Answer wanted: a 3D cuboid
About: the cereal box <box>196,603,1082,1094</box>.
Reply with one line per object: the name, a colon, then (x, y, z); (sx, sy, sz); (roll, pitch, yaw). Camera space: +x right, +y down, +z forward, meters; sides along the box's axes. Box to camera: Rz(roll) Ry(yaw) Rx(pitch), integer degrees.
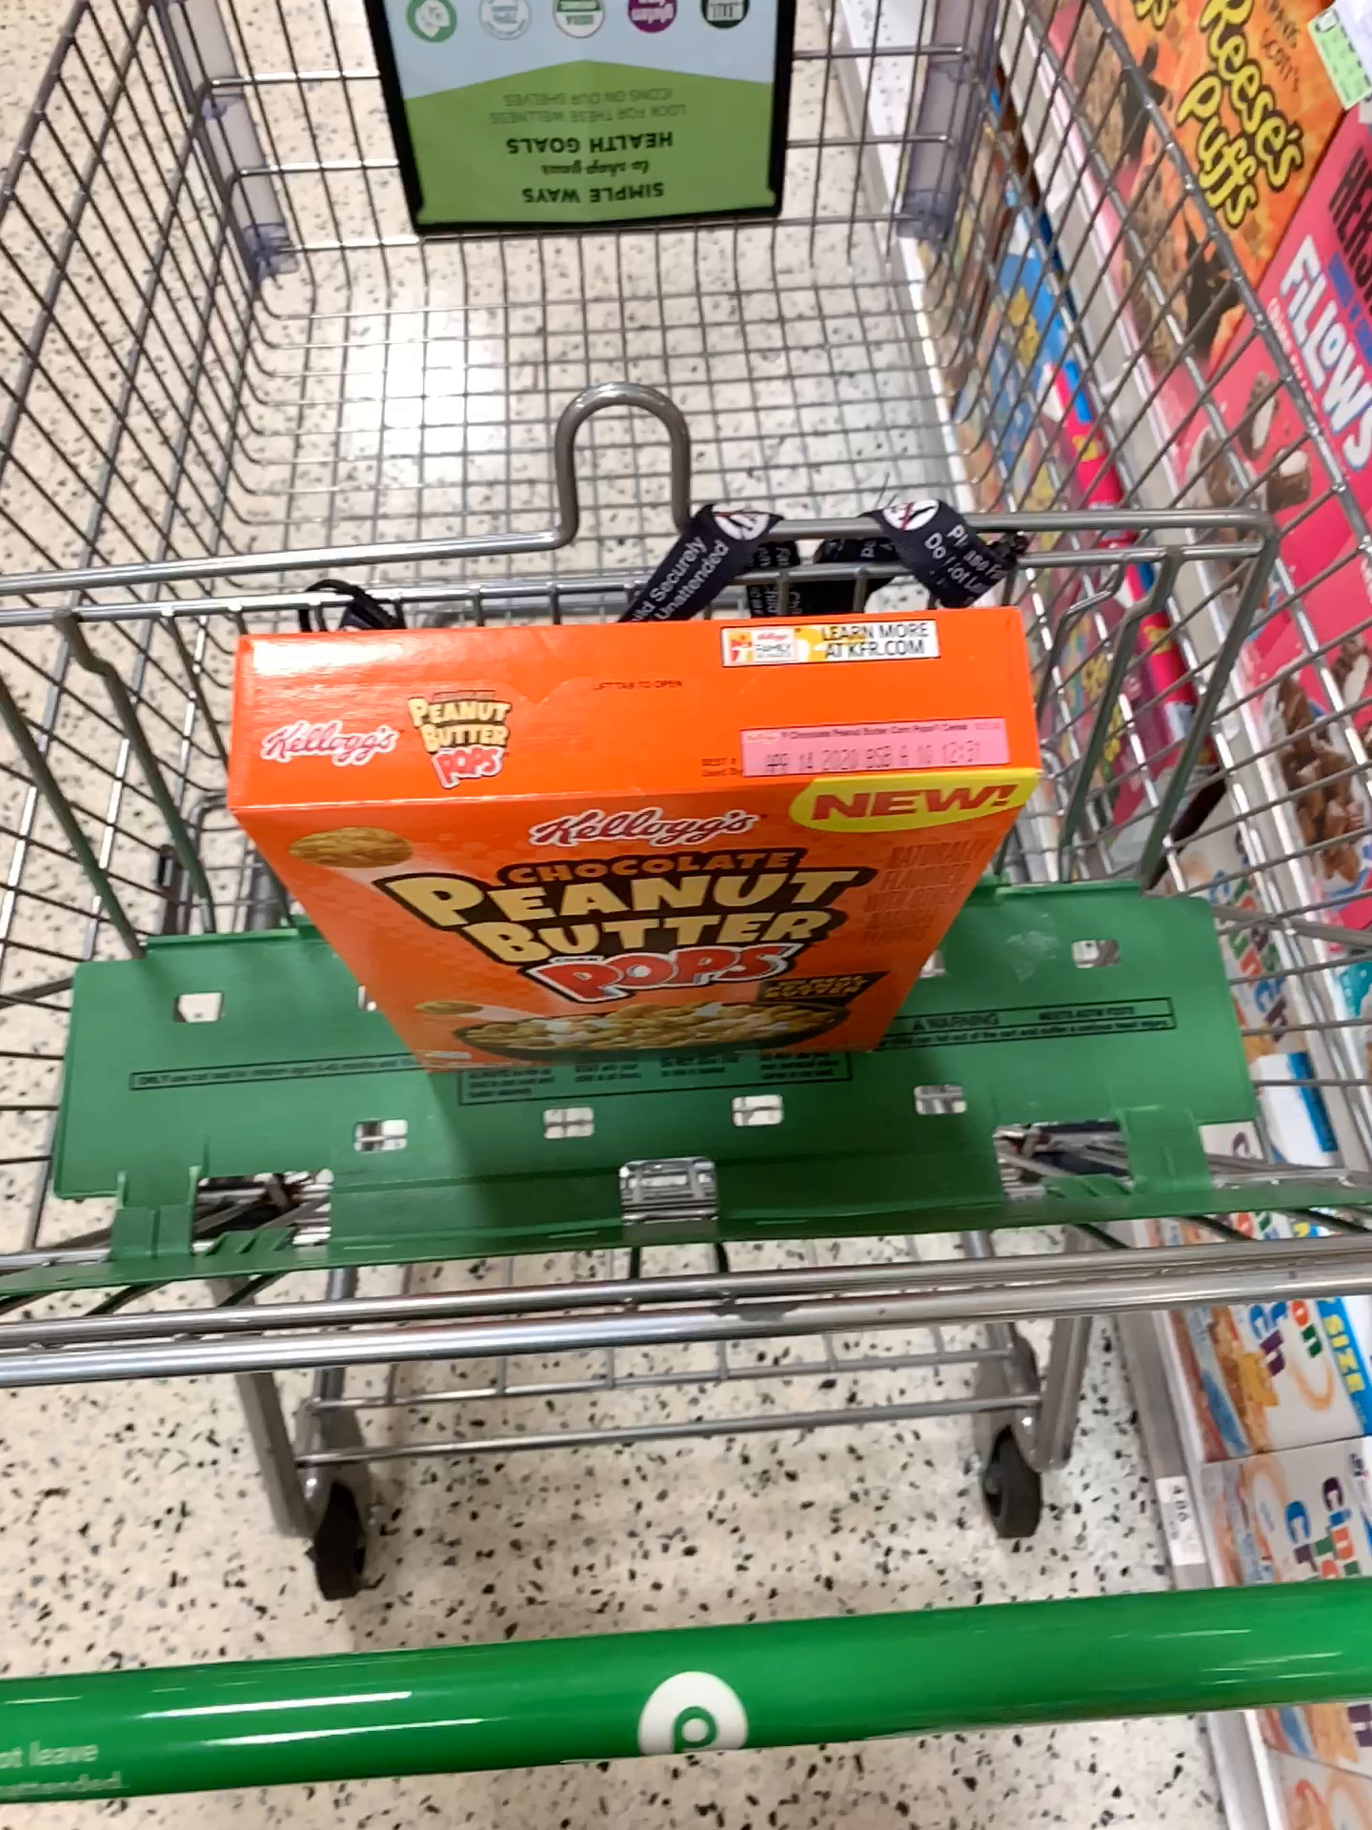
cereal box: (-0.014, 0.000, 0.464); (0.200, 0.289, 0.050); (-3, 72, -2)
